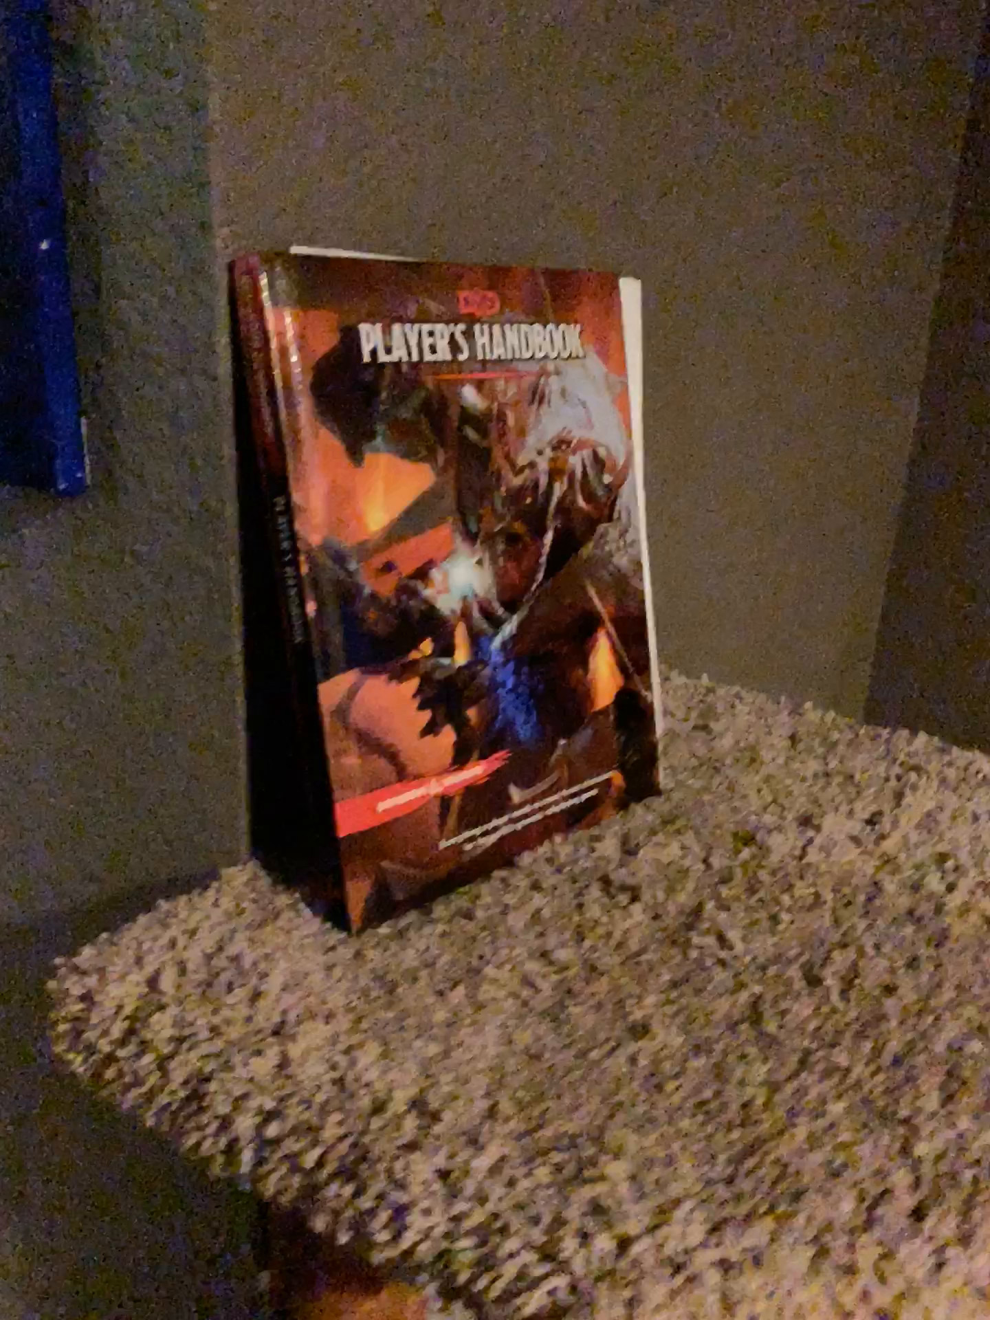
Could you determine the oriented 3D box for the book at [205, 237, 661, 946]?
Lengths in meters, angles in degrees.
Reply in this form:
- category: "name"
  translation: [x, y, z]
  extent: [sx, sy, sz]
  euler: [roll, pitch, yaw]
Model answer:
- category: "book"
  translation: [-0.010, -0.043, 0.537]
  extent: [0.230, 0.290, 0.040]
  euler: [-16, 17, -43]
